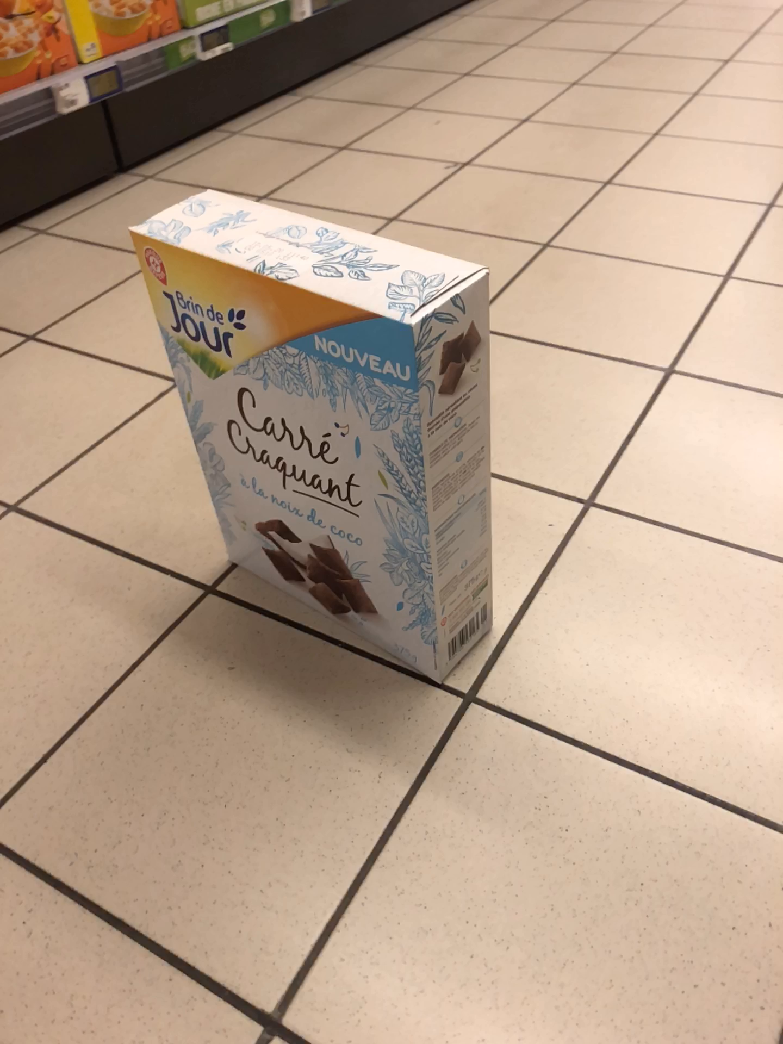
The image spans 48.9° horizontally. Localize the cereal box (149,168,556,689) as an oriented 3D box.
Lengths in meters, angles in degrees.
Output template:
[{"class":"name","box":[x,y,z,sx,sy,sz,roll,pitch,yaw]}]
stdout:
[{"class":"cereal box","box":[-0.020,-0.050,0.492,0.200,0.239,0.070,27,50,30]}]
